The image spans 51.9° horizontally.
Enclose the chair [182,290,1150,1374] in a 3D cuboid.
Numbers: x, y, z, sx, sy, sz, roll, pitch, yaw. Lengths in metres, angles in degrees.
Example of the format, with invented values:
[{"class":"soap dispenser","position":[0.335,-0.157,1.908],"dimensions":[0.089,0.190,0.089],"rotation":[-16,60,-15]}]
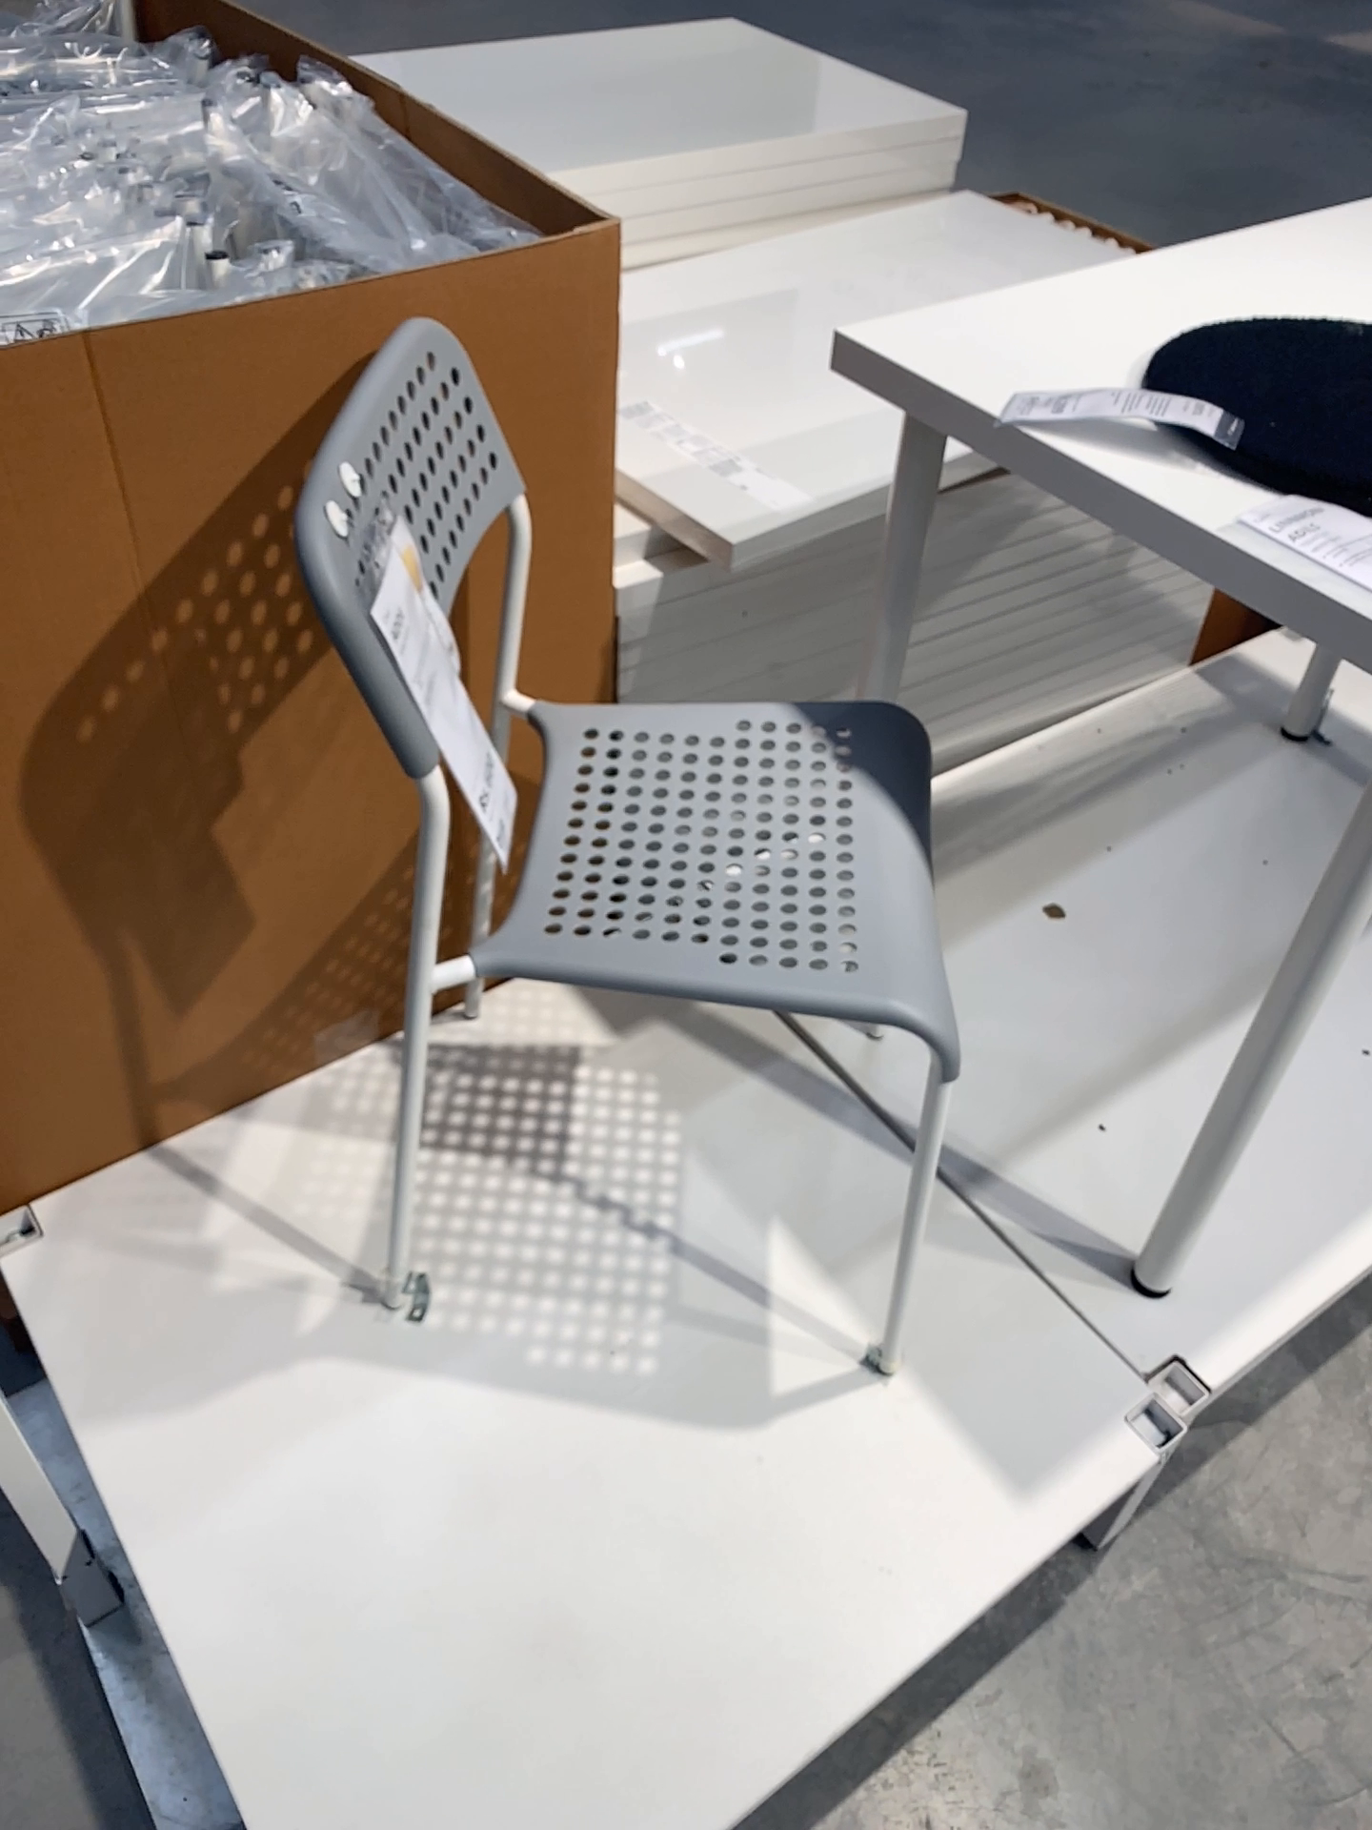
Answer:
[{"class":"chair","position":[-0.015,-0.043,1.127],"dimensions":[0.500,0.687,0.462],"rotation":[5,43,1]}]
